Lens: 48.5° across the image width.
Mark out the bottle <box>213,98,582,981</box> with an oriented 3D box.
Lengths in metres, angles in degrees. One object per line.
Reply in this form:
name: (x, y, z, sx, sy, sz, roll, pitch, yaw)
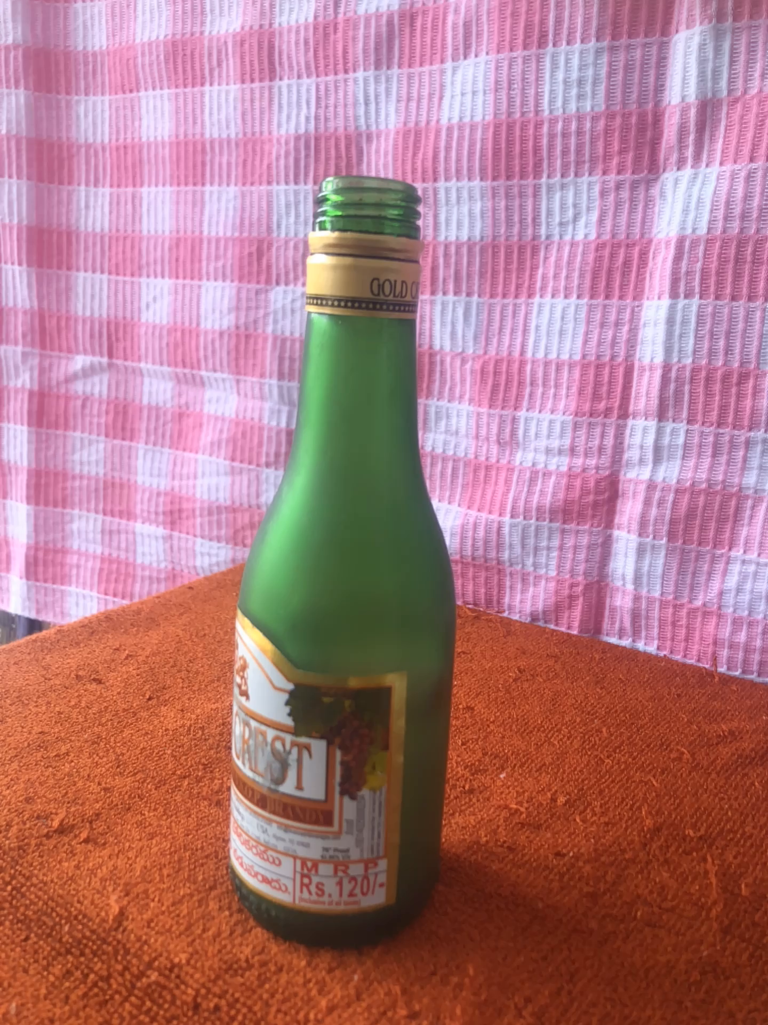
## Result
bottle: (-0.006, 0.008, 0.192, 0.060, 0.169, 0.060, 3, 15, -1)
